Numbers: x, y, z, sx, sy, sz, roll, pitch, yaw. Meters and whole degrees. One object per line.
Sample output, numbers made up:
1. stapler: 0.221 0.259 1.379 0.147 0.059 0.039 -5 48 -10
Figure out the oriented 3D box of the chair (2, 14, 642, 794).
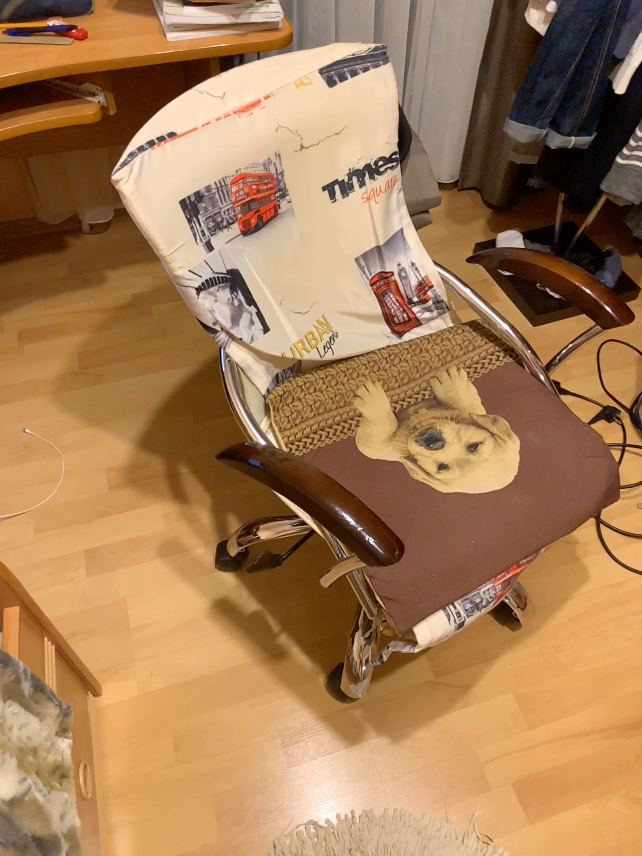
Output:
1. chair: 0.072 -0.016 0.833 0.565 0.665 0.476 38 59 25
